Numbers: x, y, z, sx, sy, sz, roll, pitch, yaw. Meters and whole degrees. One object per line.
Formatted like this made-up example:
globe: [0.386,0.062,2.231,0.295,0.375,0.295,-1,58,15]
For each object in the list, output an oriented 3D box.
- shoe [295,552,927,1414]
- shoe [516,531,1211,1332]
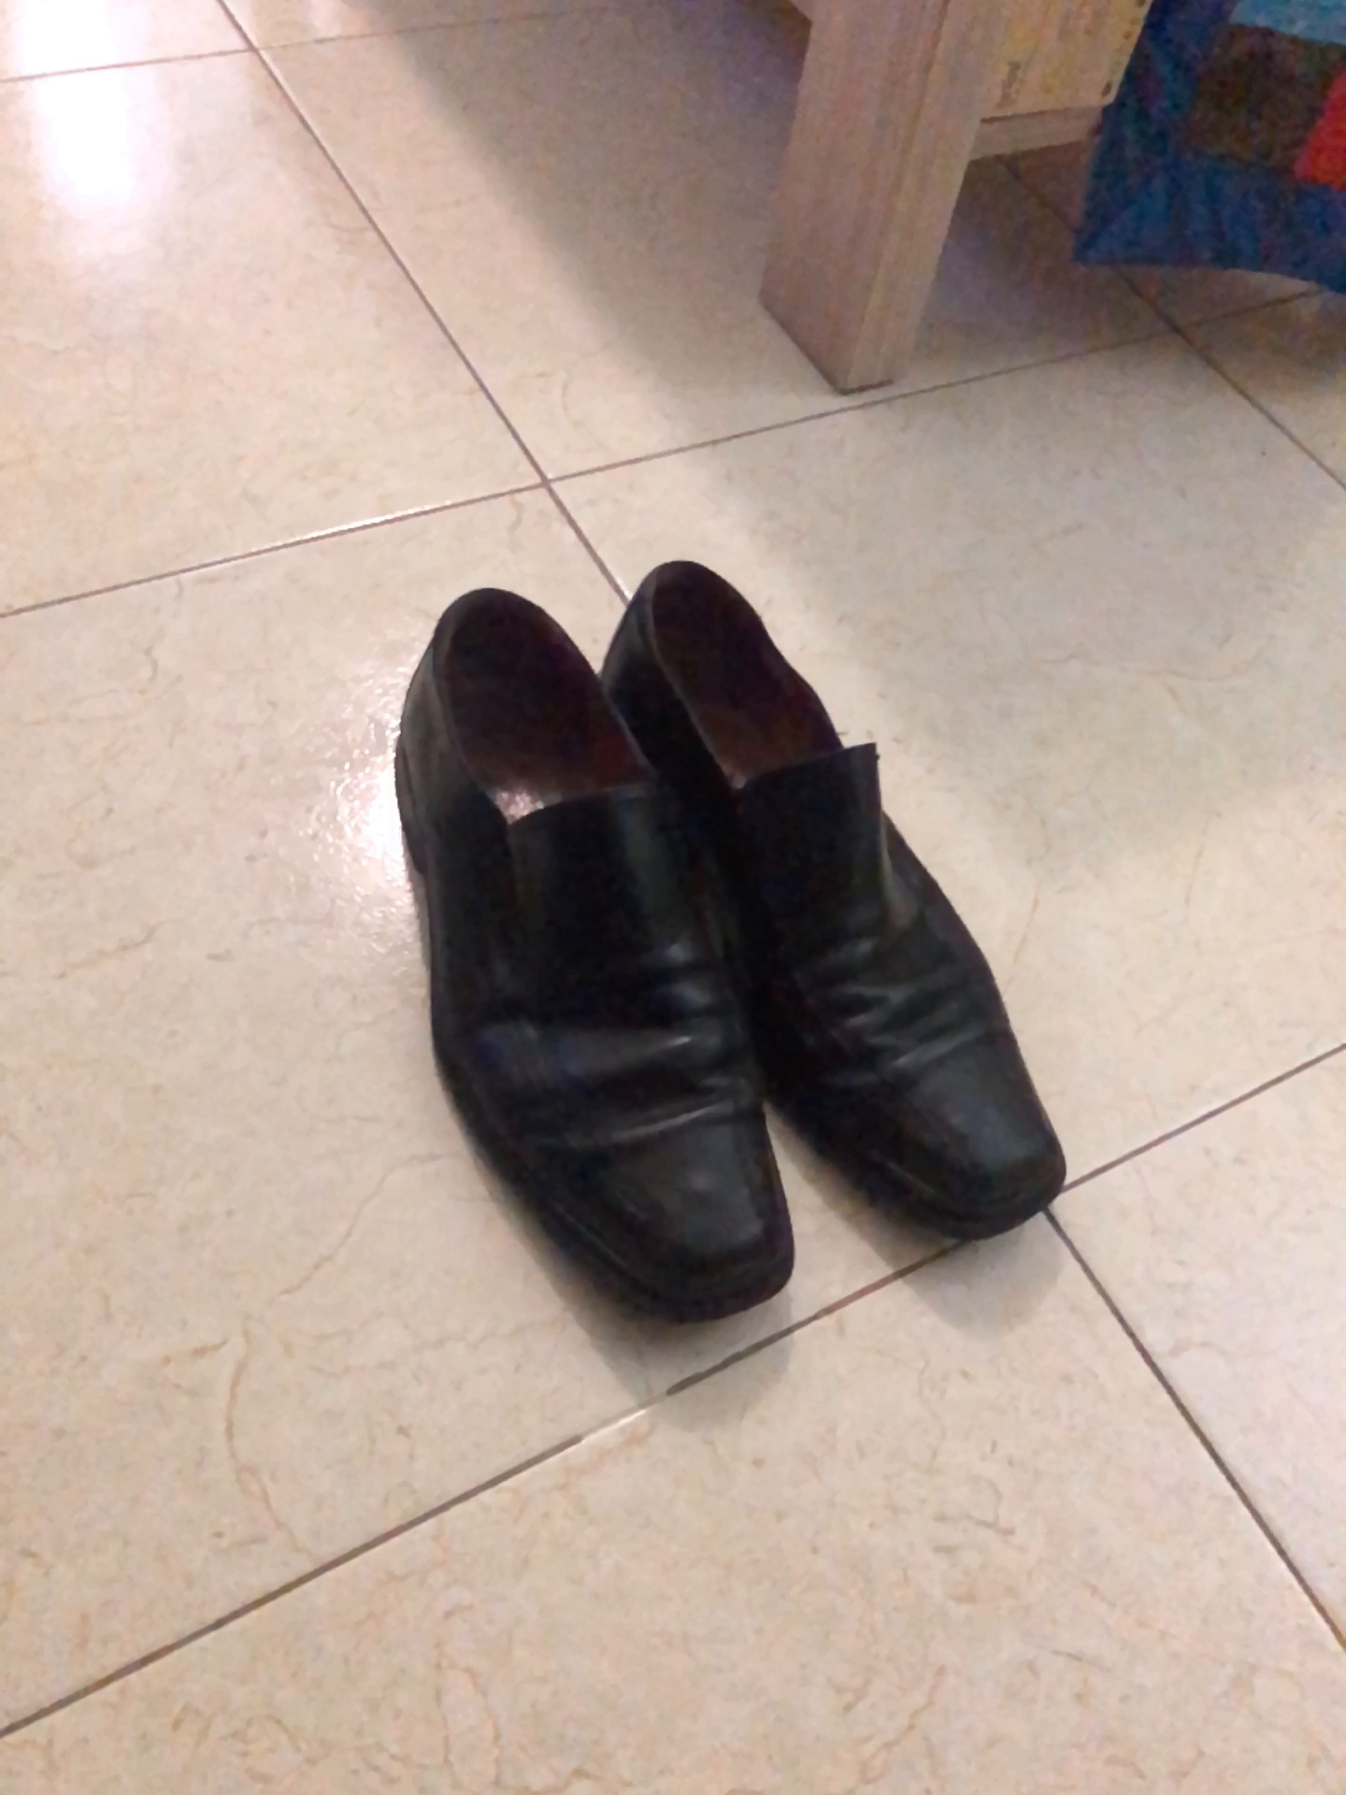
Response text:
shoe: [-0.040,0.016,0.571,0.120,0.090,0.311,-16,59,-19]
shoe: [0.058,-0.002,0.607,0.120,0.090,0.310,-20,61,-21]
